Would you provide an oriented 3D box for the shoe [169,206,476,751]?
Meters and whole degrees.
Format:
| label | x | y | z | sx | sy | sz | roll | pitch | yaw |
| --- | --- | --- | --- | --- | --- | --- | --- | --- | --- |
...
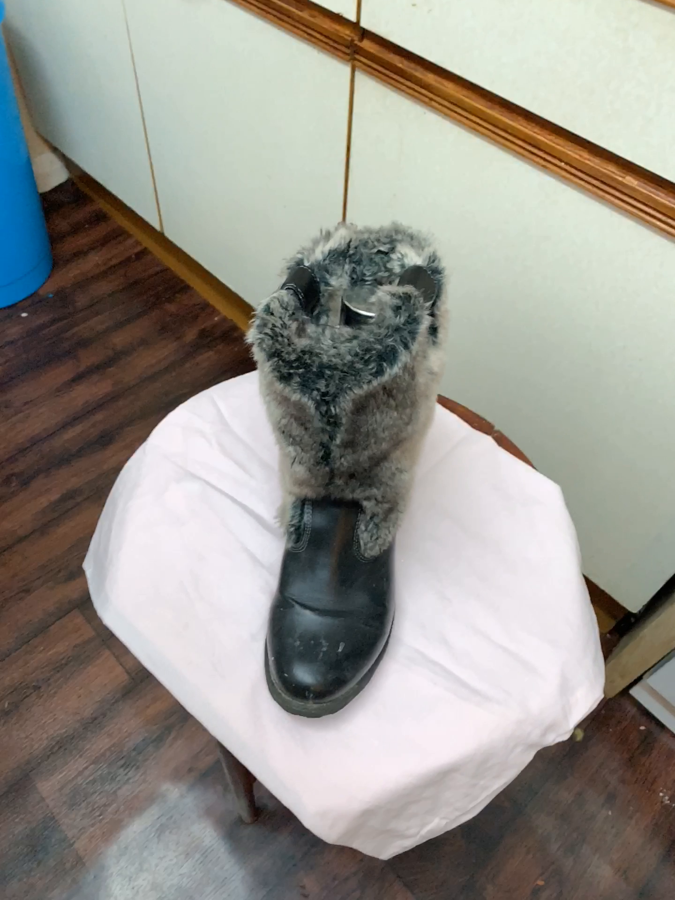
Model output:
| label | x | y | z | sx | sy | sz | roll | pitch | yaw |
| --- | --- | --- | --- | --- | --- | --- | --- | --- | --- |
| shoe | 0.003 | 0.023 | 0.475 | 0.120 | 0.238 | 0.272 | 10 | 53 | 4 |
